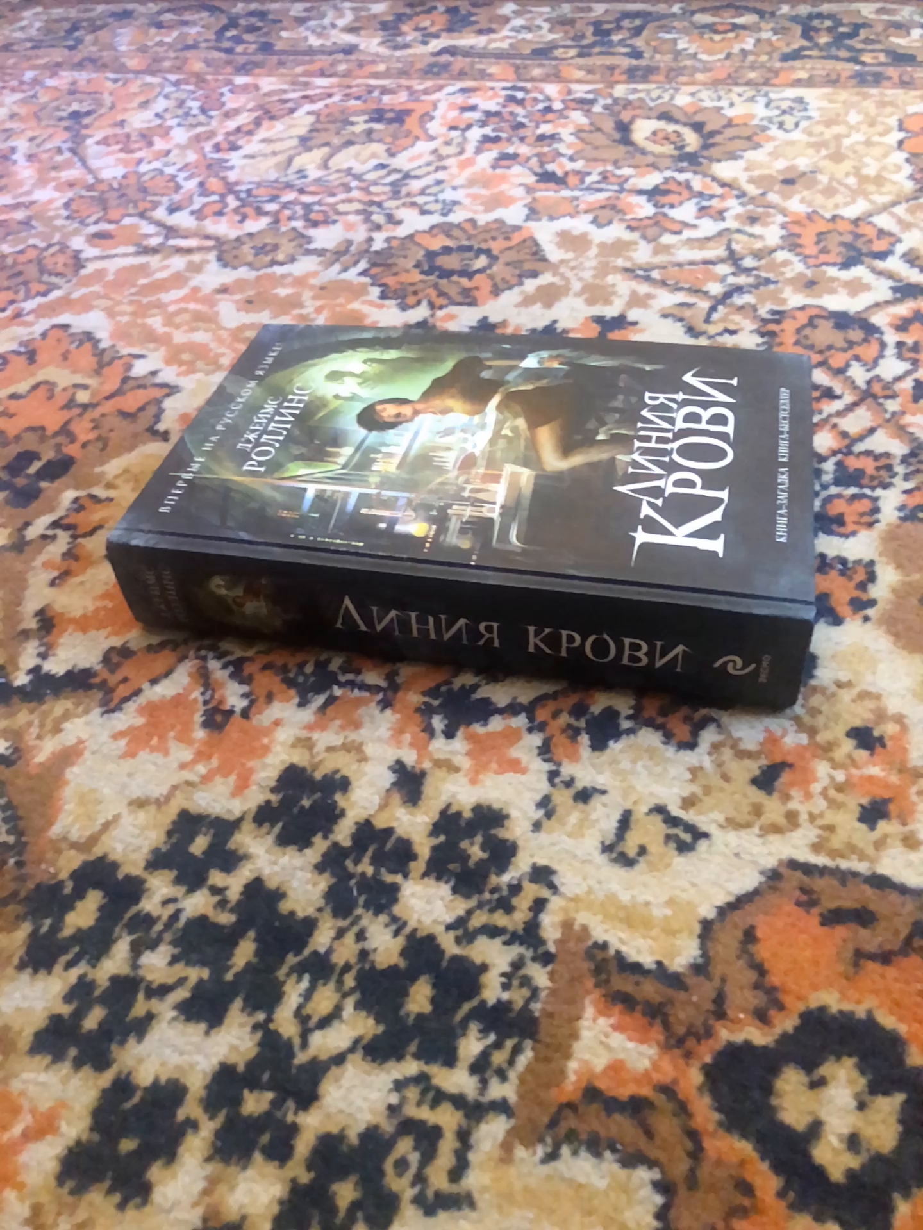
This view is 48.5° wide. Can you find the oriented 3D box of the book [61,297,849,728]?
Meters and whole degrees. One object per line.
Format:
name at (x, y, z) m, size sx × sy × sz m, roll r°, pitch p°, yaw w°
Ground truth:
book at (0.008, -0.049, 0.356) m, size 0.226 × 0.040 × 0.160 m, roll 7°, pitch 44°, yaw 11°
